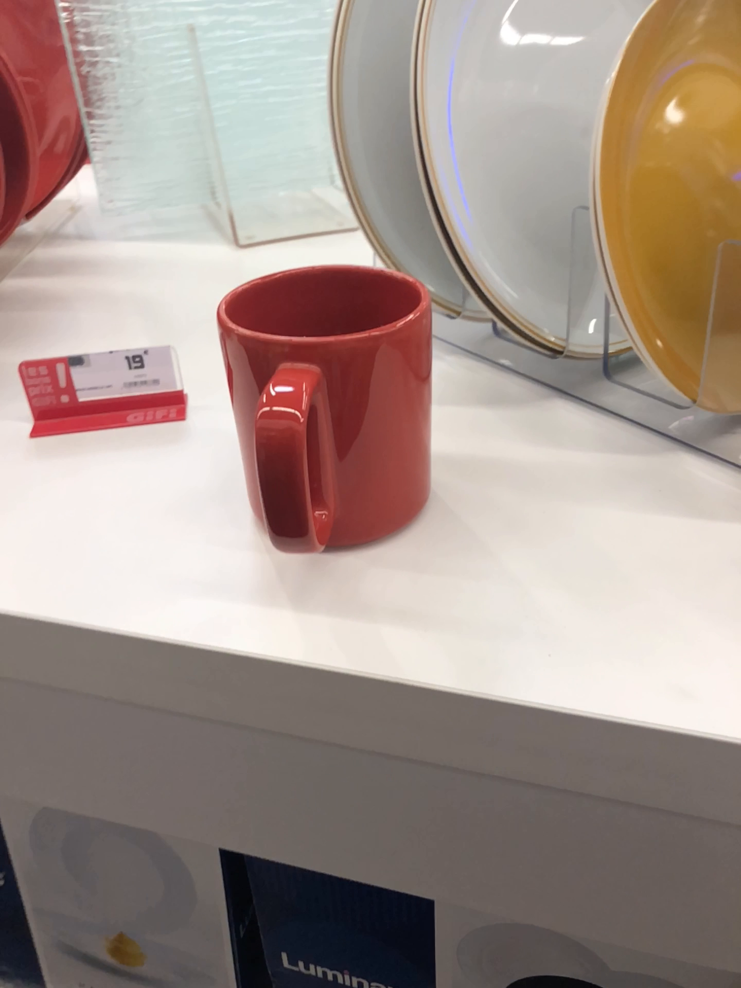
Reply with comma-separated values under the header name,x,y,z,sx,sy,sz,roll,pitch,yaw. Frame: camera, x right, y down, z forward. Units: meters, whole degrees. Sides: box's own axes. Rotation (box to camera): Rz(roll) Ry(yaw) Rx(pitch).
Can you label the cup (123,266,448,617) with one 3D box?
name,x,y,z,sx,sy,sz,roll,pitch,yaw
cup,-0.020,-0.029,0.322,0.091,0.082,0.130,2,33,9
